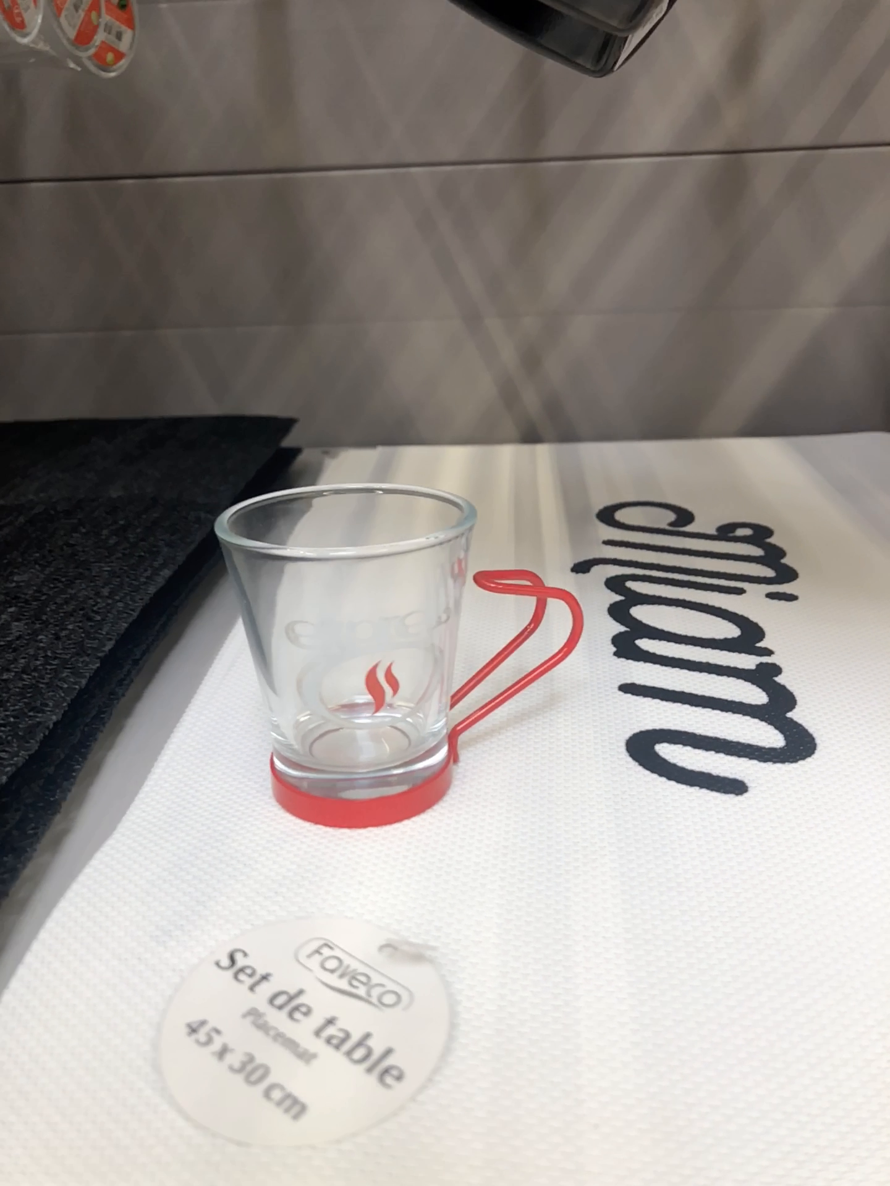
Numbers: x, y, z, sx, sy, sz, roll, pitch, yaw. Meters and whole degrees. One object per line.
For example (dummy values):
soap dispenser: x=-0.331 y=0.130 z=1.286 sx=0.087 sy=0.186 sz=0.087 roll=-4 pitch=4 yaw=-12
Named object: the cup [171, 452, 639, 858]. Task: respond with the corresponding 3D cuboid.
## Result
cup: x=-0.008 y=0.007 z=0.238 sx=0.093 sy=0.063 sz=0.056 roll=-14 pitch=21 yaw=-30
